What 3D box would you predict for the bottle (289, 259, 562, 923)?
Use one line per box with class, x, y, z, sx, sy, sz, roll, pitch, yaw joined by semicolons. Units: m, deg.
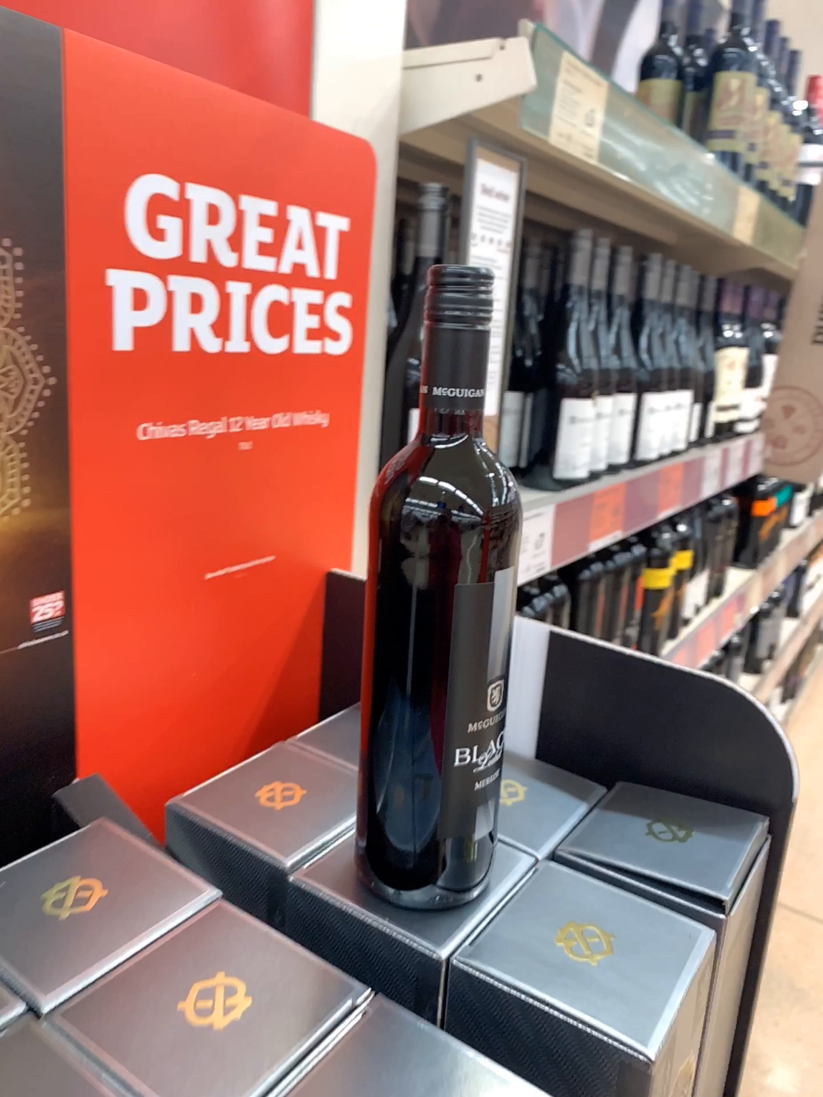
bottle;0.001;0.017;0.405;0.070;0.288;0.080;-8;19;-42
